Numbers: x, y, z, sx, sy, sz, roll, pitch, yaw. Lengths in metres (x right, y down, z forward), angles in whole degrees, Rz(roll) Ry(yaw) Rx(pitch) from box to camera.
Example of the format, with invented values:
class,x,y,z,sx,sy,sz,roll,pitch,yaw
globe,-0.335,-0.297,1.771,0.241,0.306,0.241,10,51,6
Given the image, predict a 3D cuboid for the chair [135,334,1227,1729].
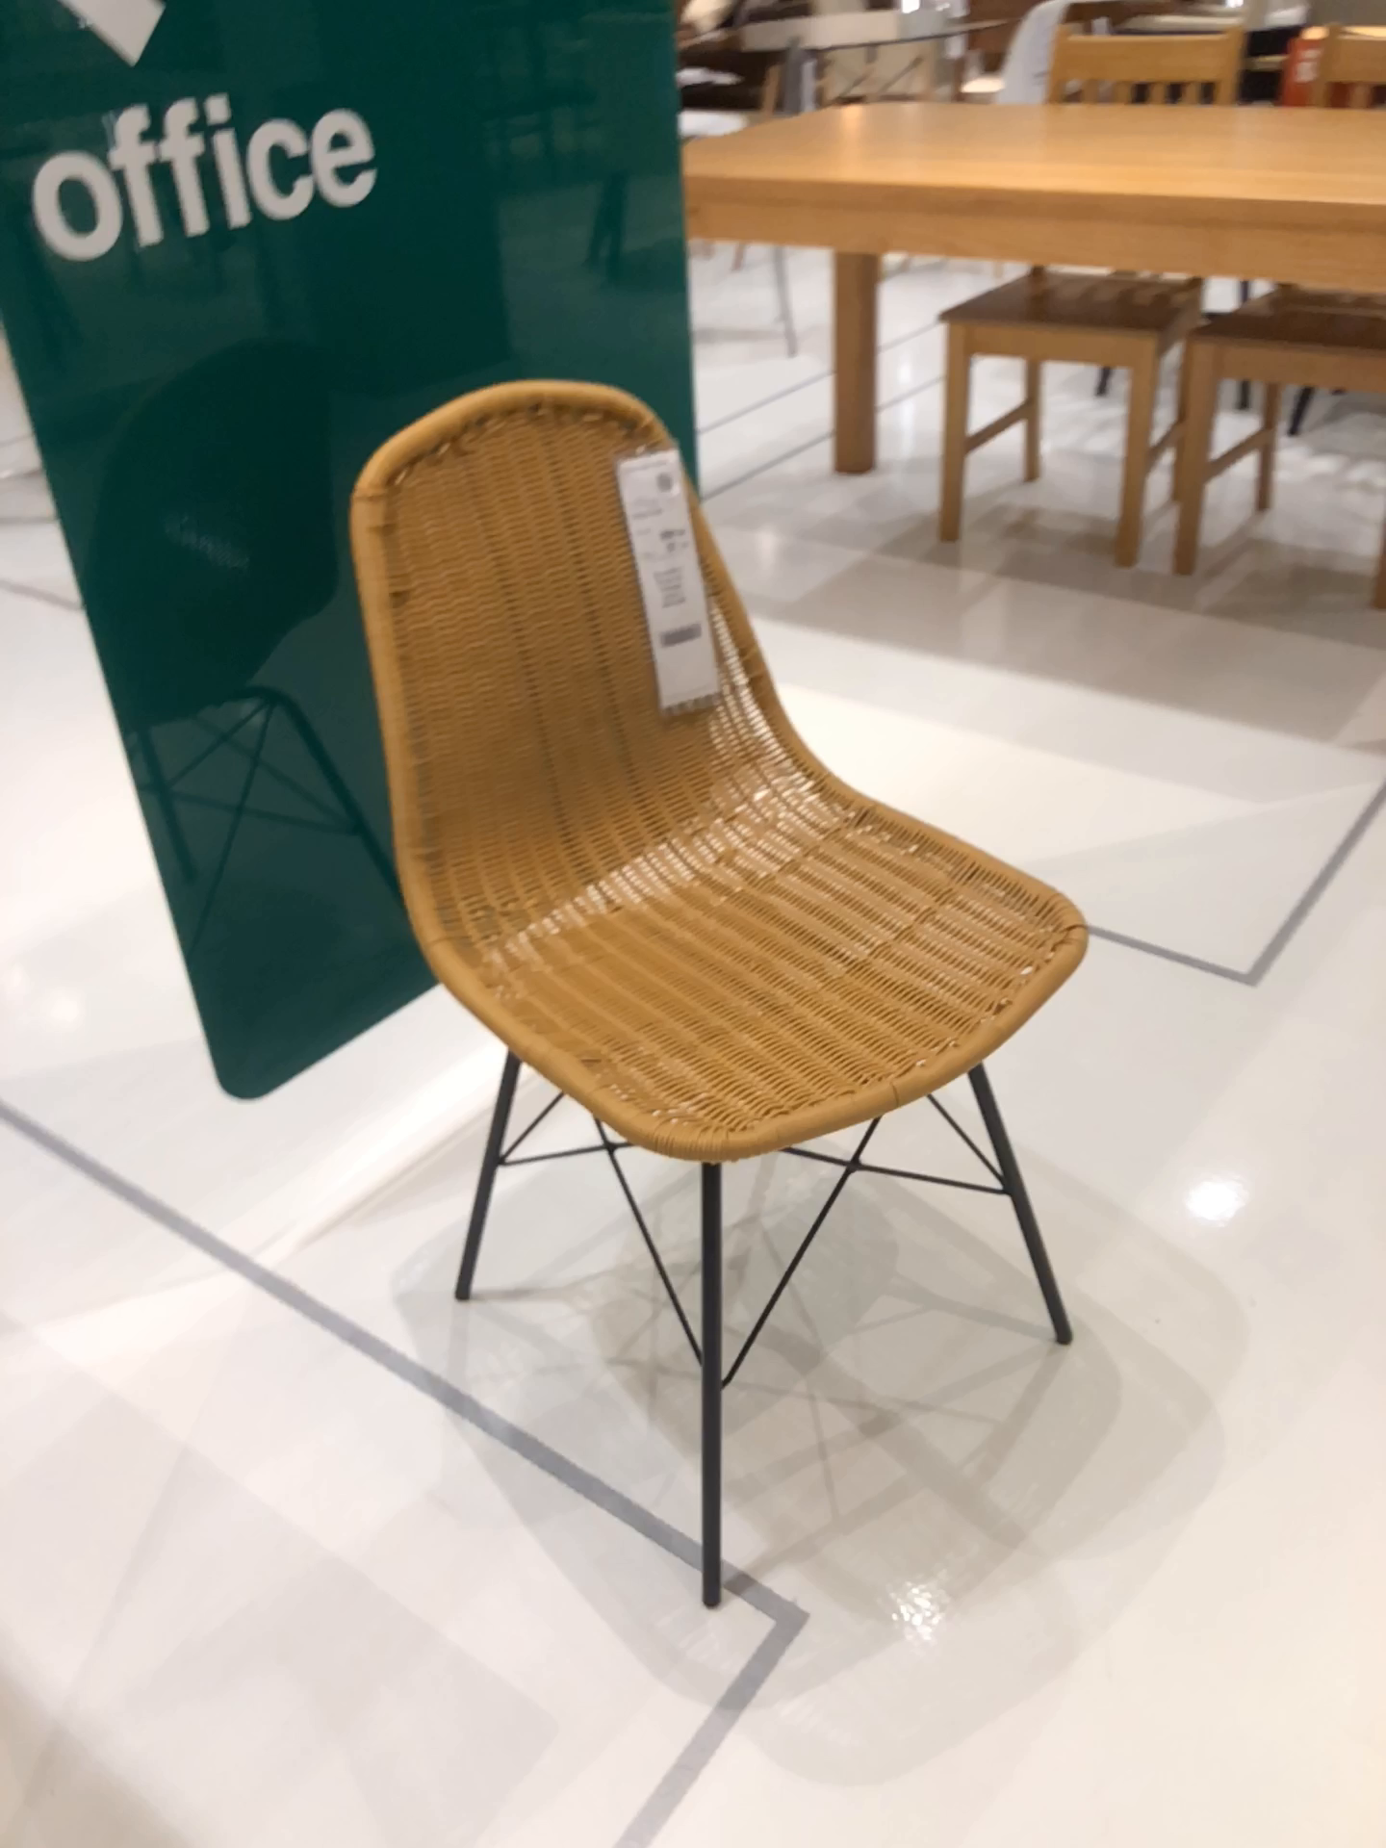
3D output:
class,x,y,z,sx,sy,sz,roll,pitch,yaw
chair,-0.010,0.052,1.267,0.492,0.863,0.573,-25,39,-29
